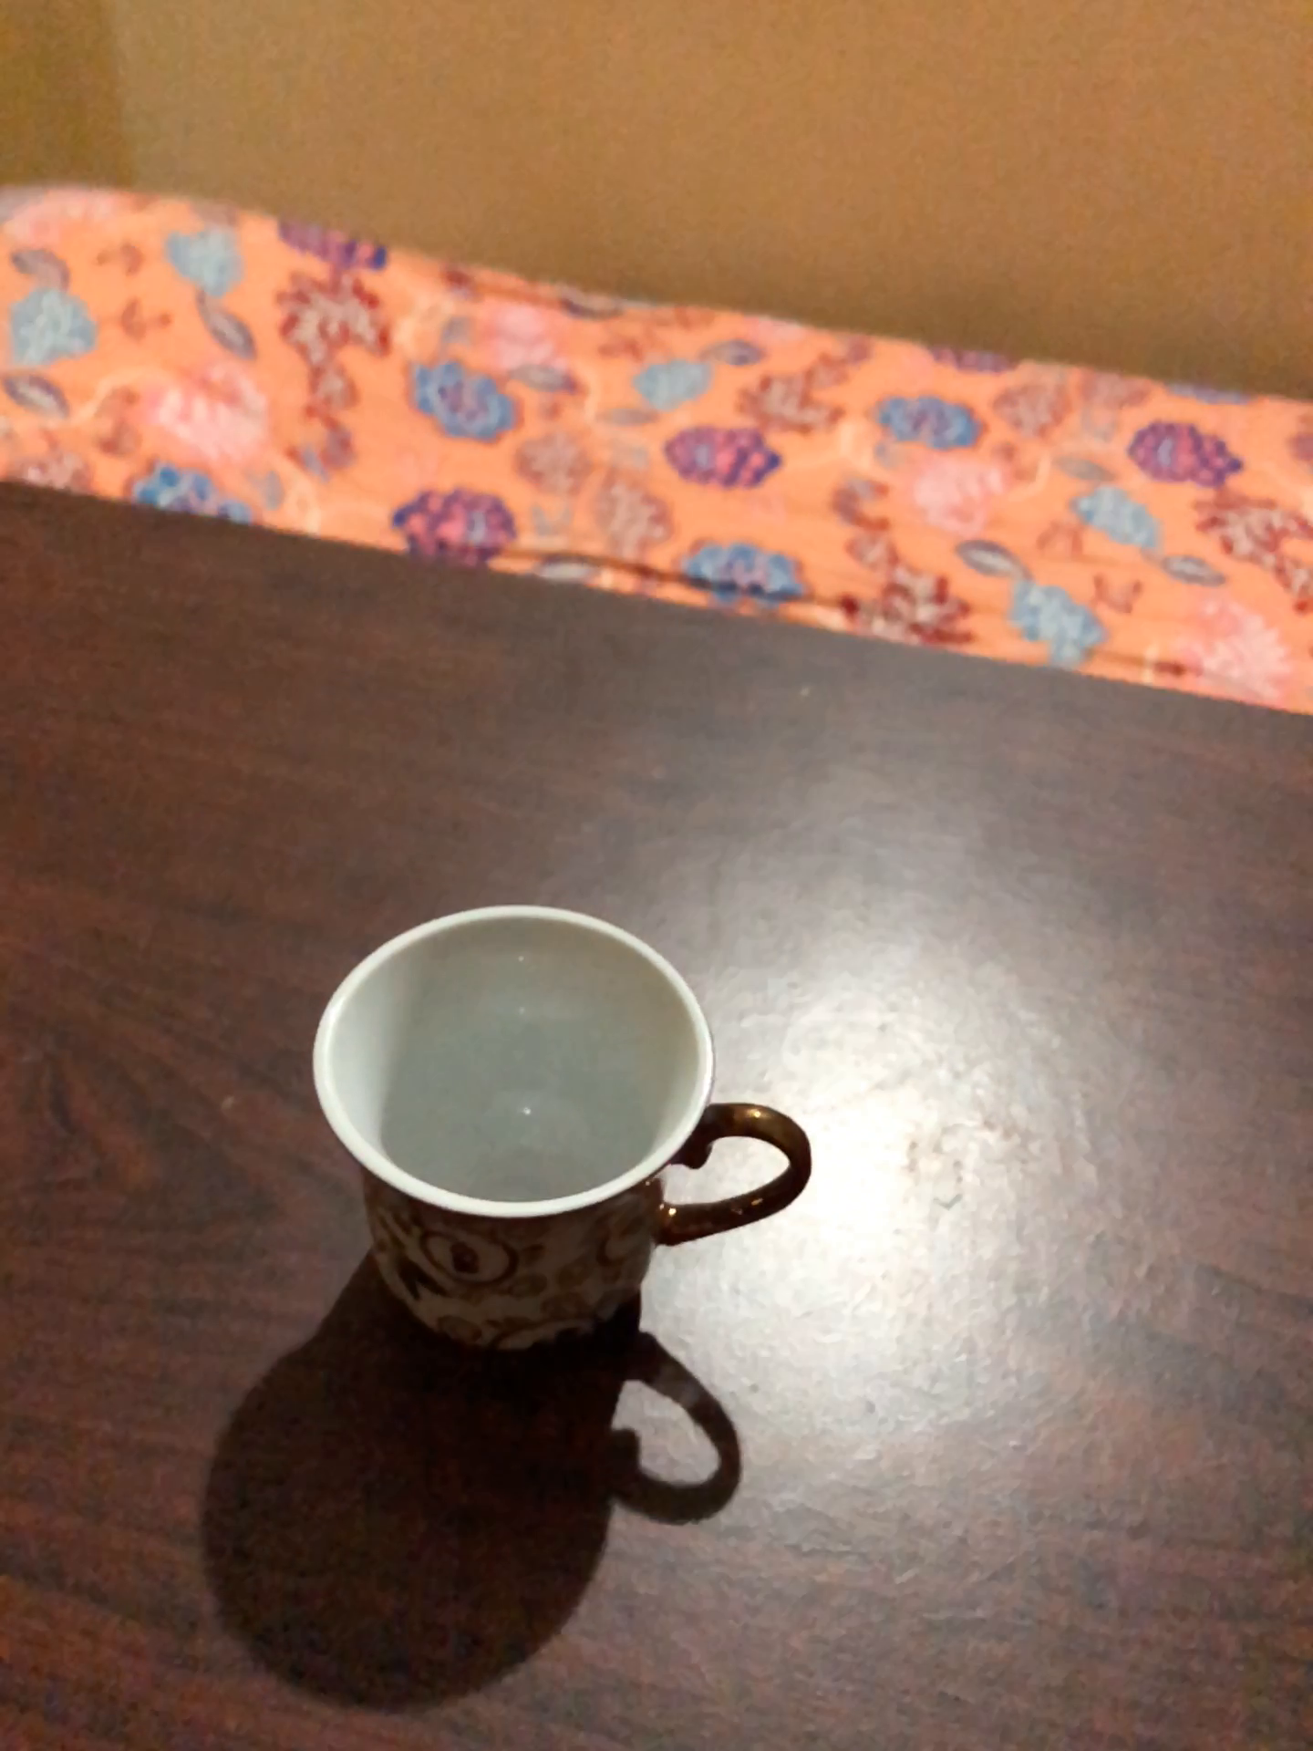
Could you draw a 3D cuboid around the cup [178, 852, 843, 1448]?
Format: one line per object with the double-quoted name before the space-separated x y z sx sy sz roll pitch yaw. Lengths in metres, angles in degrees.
"cup" -0.018 0.043 0.242 0.090 0.050 0.070 7 42 2
